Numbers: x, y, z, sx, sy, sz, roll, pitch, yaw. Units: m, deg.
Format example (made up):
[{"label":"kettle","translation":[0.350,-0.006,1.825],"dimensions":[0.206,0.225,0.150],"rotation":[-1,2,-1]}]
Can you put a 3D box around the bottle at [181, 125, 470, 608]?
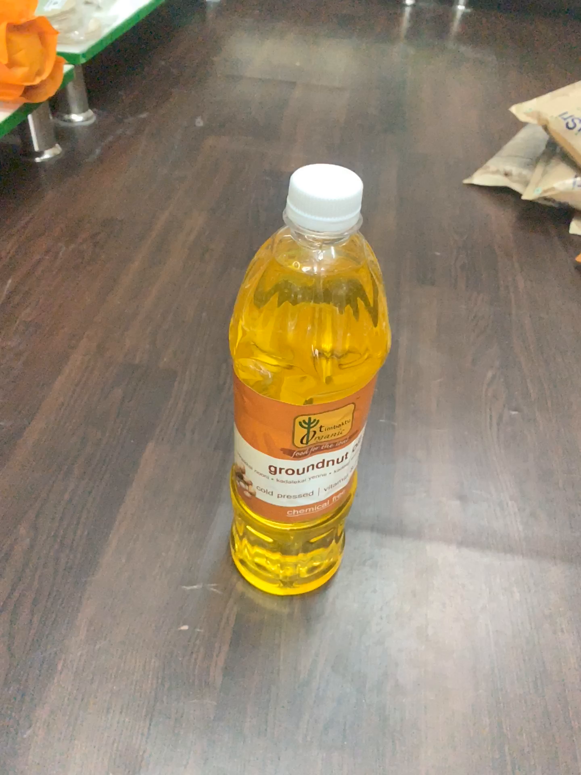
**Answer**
[{"label":"bottle","translation":[0.002,0.012,0.310],"dimensions":[0.090,0.259,0.070],"rotation":[-8,45,-12]}]
